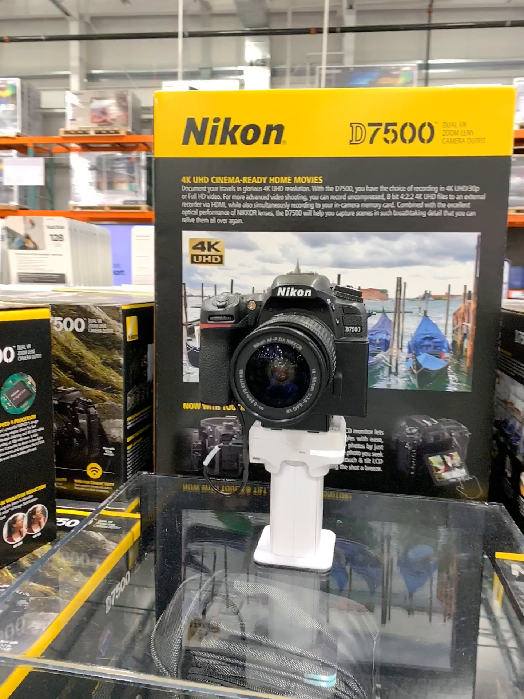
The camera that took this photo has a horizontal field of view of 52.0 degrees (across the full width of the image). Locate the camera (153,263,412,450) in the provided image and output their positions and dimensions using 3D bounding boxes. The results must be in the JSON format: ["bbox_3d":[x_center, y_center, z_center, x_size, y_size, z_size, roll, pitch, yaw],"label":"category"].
[{"bbox_3d":[0.018,-0.003,0.391,0.160,0.110,0.110,3,7,10],"label":"camera"}]
